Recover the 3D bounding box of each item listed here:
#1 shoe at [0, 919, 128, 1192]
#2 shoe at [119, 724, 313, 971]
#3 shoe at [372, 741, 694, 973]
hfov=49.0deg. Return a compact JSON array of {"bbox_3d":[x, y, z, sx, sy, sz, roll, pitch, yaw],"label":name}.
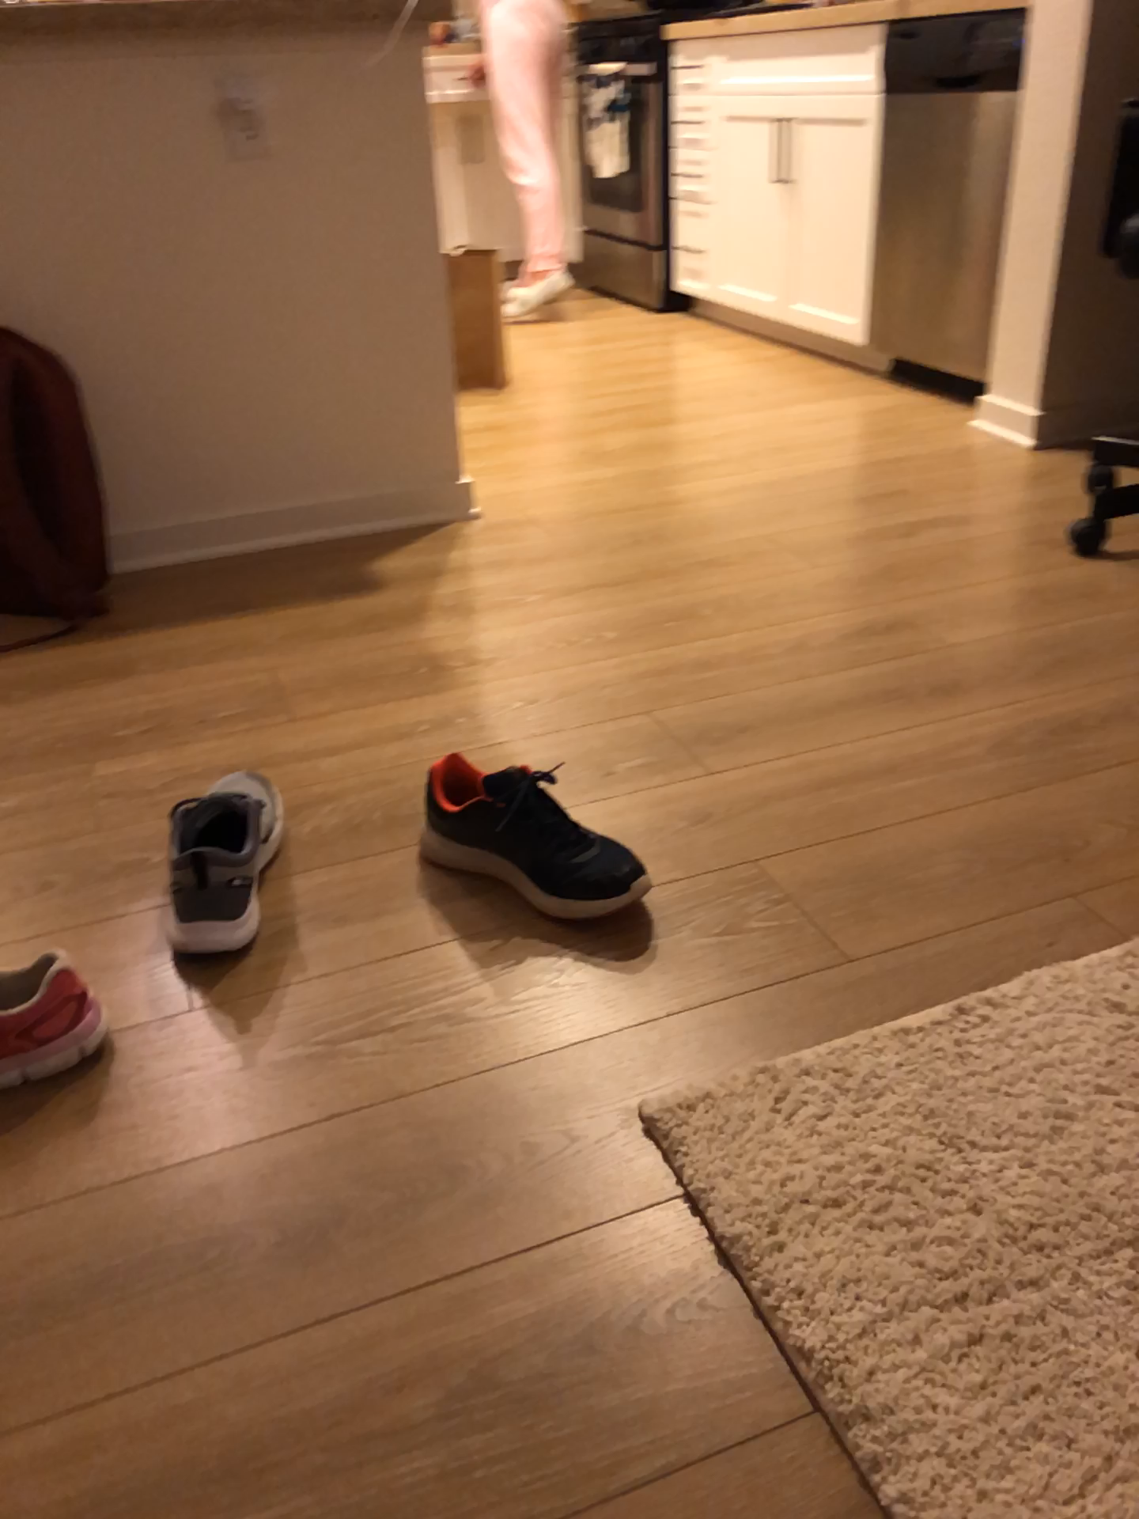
[{"bbox_3d":[-0.547,0.250,1.089,0.280,0.099,0.121,-14,30,-20],"label":"shoe"},{"bbox_3d":[-0.367,0.082,1.342,0.130,0.099,0.322,-4,28,-2],"label":"shoe"},{"bbox_3d":[-0.041,0.091,1.300,0.321,0.099,0.130,19,35,34],"label":"shoe"}]
